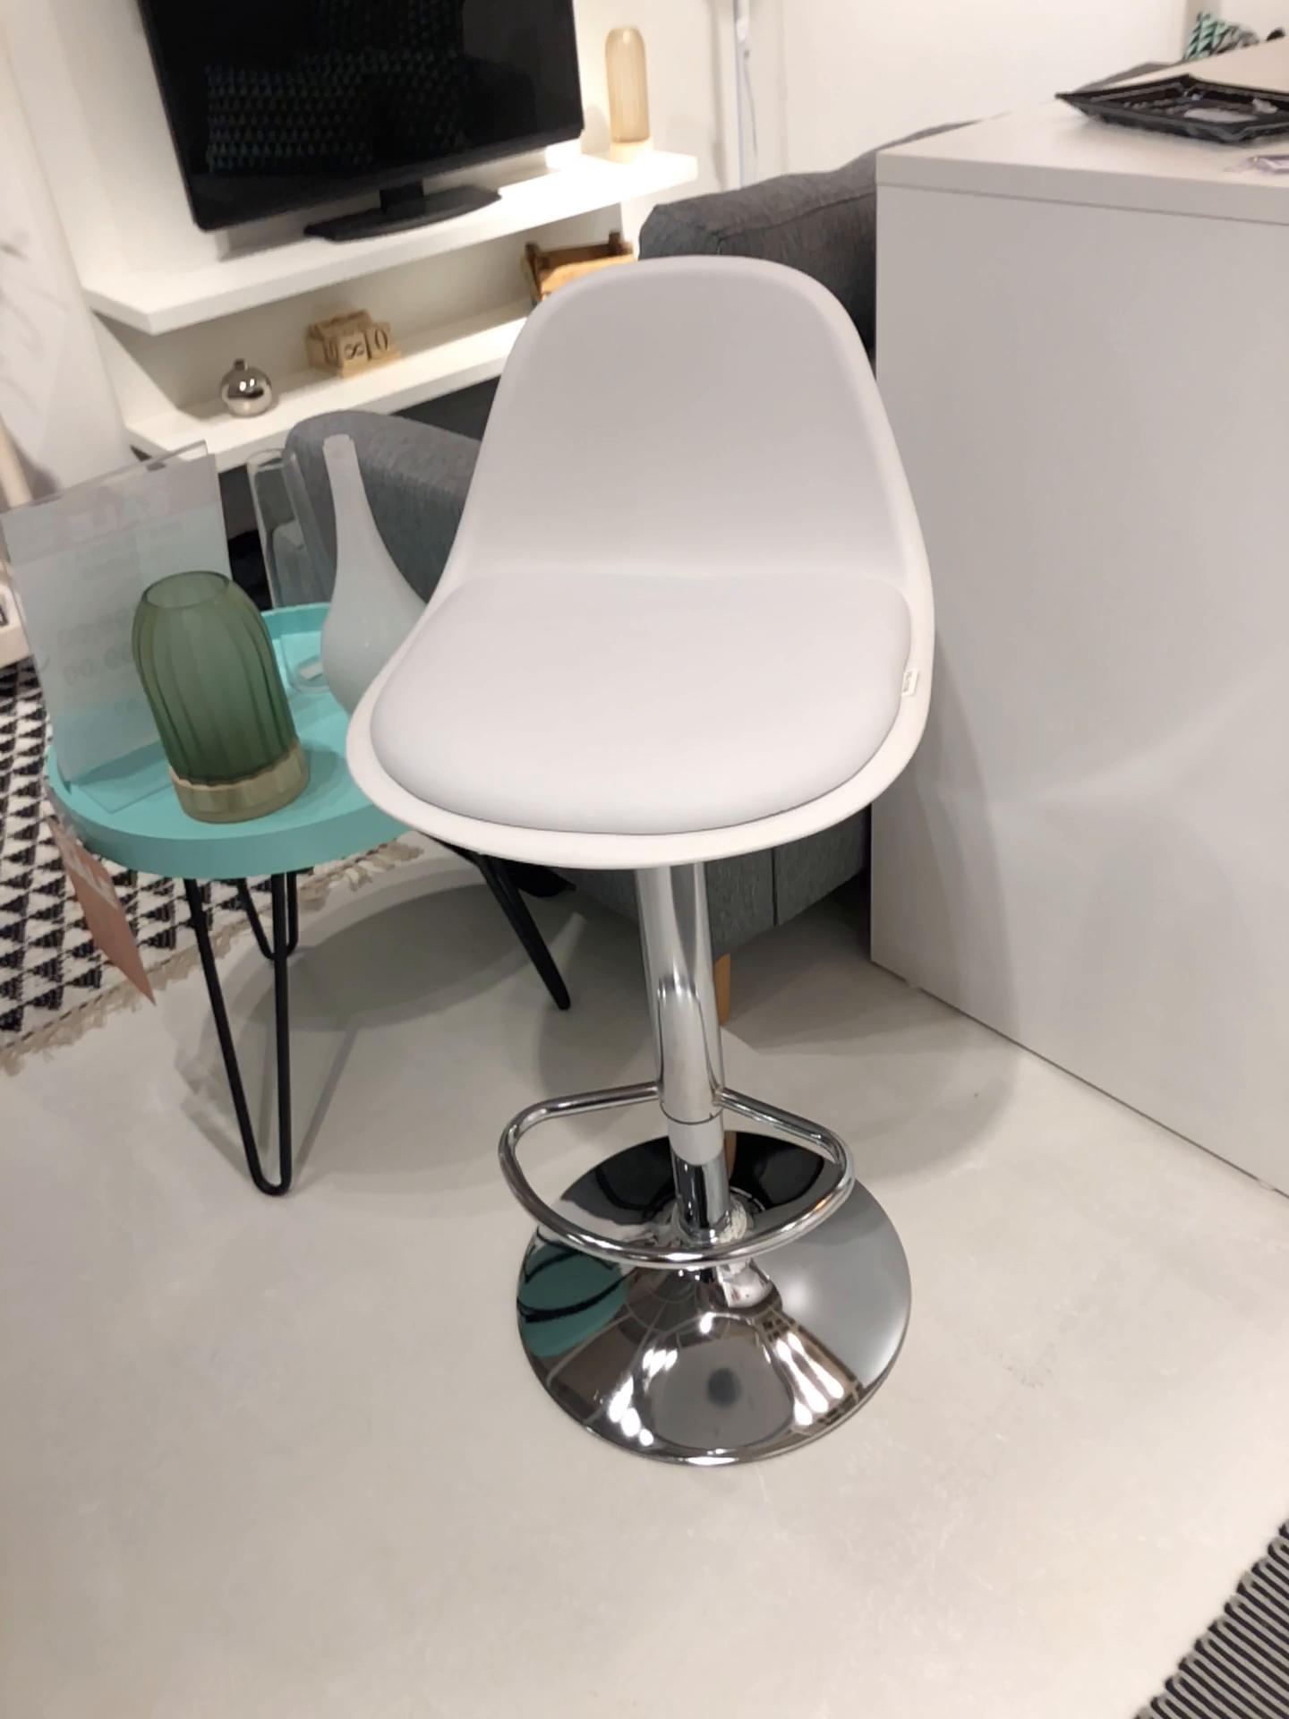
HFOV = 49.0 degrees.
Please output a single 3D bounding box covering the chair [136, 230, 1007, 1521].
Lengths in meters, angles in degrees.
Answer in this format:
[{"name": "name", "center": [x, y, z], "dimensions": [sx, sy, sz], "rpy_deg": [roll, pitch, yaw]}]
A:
[{"name": "chair", "center": [0.028, 0.035, 1.111], "dimensions": [0.410, 0.884, 0.423], "rpy_deg": [6, 38, 17]}]
